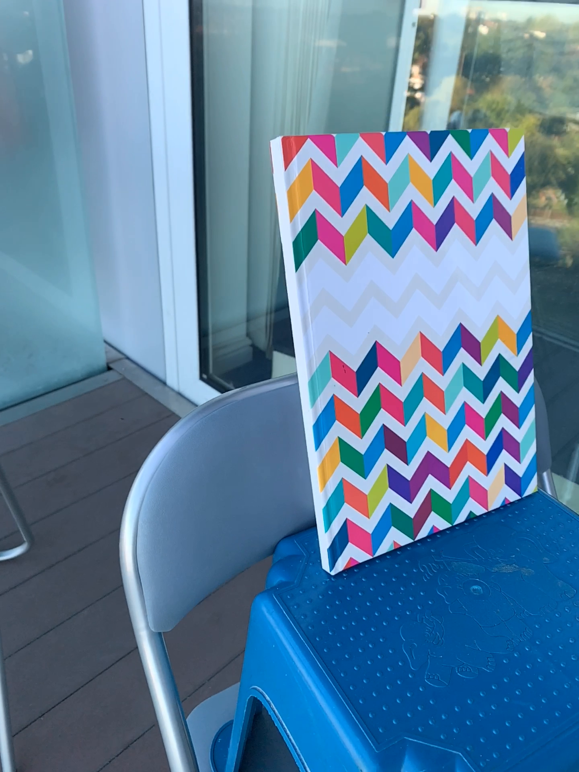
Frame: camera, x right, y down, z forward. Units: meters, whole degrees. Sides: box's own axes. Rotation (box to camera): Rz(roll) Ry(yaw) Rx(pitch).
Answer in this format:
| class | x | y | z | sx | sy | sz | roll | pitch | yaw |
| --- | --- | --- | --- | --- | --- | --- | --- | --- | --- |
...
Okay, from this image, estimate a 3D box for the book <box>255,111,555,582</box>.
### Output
| class | x | y | z | sx | sy | sz | roll | pitch | yaw |
| --- | --- | --- | --- | --- | --- | --- | --- | --- | --- |
| book | 0.097 | -0.036 | 0.424 | 0.211 | 0.290 | 0.030 | -14 | 13 | -25 |
